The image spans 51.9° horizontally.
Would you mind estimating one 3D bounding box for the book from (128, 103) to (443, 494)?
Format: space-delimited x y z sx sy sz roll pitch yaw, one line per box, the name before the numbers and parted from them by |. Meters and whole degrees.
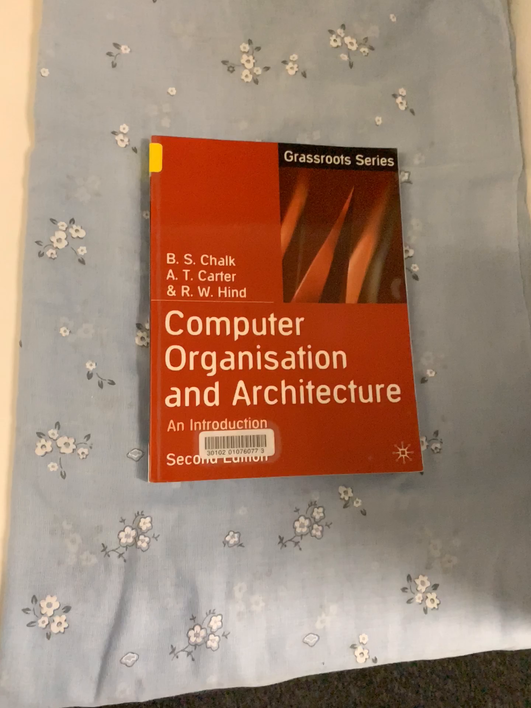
book | 0.011 -0.045 0.396 0.210 0.030 0.271 0 79 -10
